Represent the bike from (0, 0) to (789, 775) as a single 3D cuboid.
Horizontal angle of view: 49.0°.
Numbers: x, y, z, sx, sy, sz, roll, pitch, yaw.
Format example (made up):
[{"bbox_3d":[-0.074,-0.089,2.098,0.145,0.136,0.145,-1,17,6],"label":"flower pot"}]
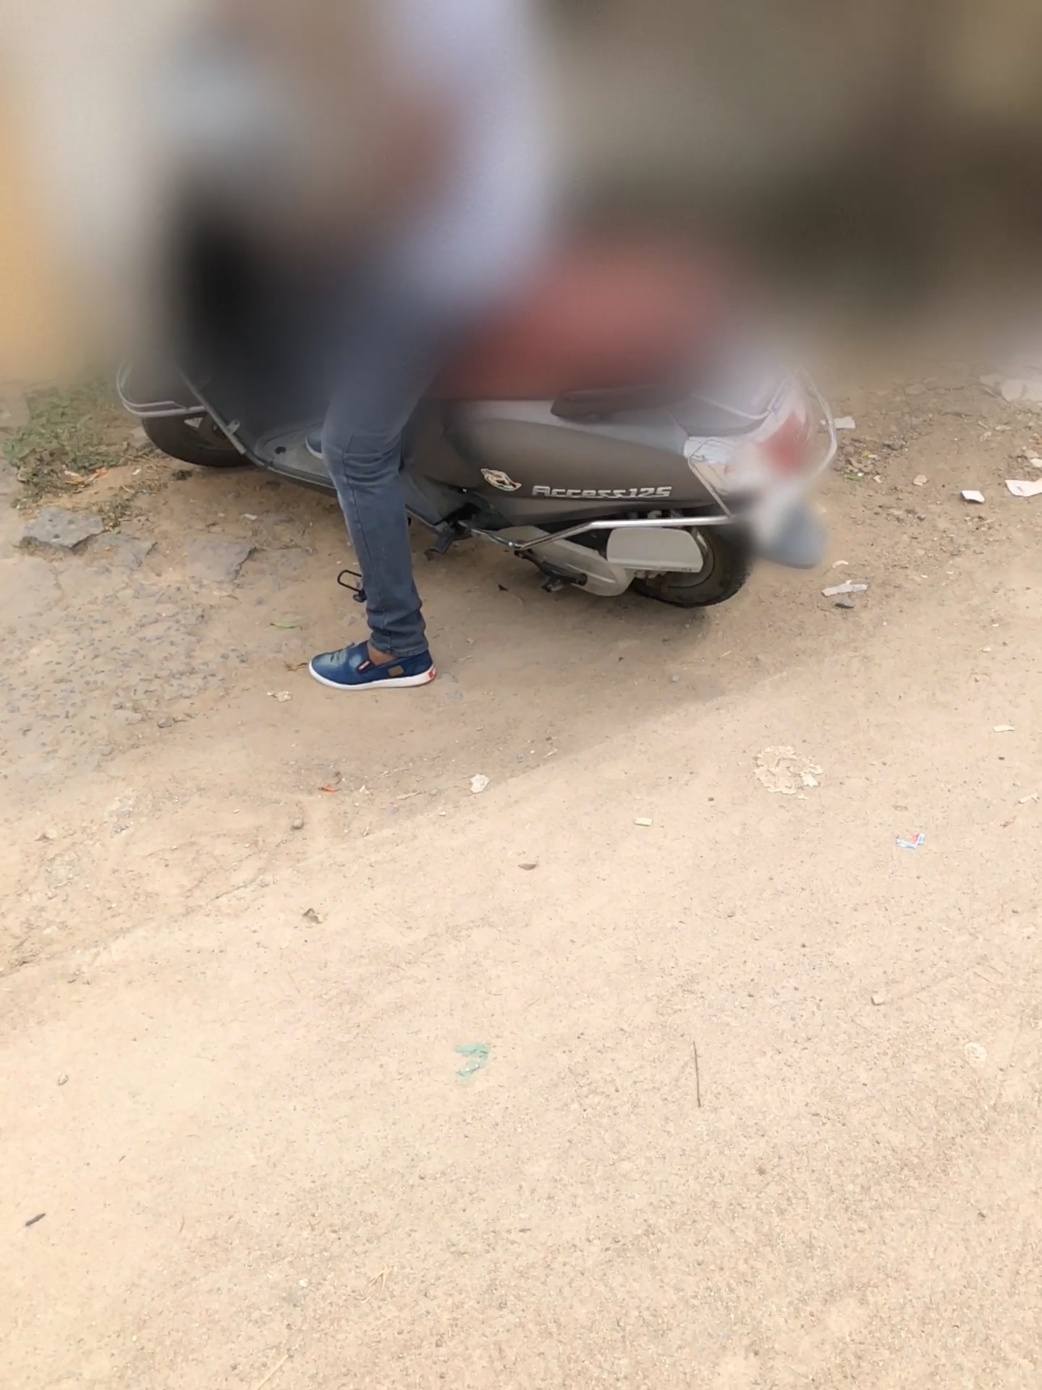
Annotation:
[{"bbox_3d":[-0.351,-0.709,2.209,1.497,1.195,0.614,15,38,19],"label":"bike"}]
